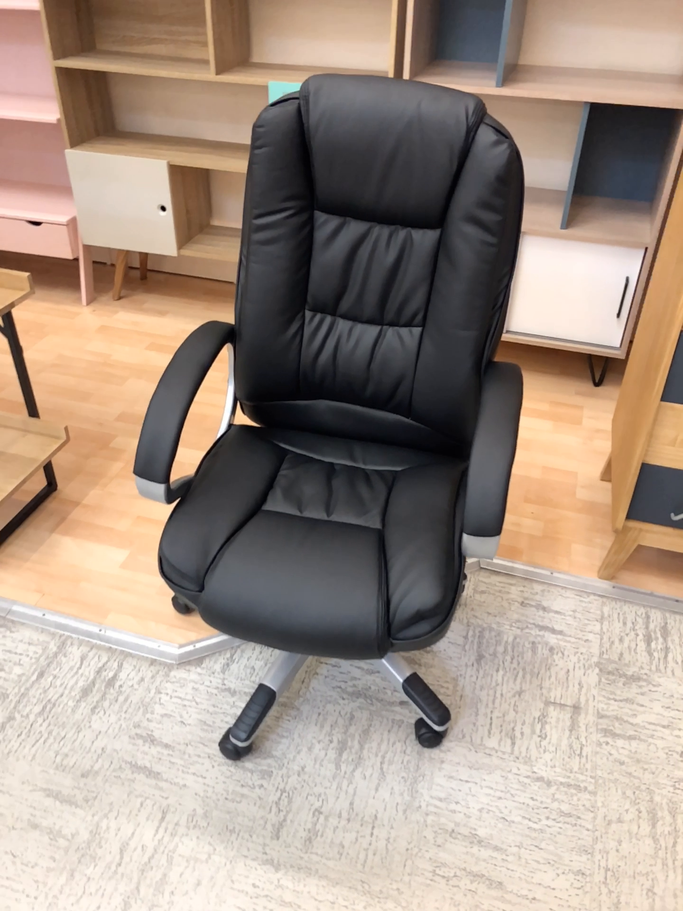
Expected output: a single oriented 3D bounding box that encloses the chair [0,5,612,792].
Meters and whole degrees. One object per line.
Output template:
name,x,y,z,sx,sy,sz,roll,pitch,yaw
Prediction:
chair,-0.092,-0.108,1.269,0.760,1.063,0.685,7,35,7
